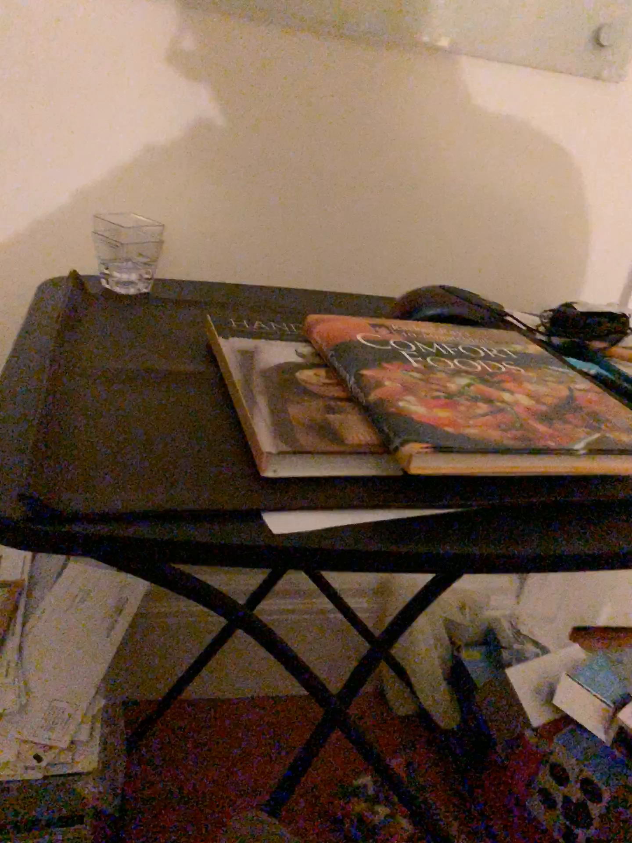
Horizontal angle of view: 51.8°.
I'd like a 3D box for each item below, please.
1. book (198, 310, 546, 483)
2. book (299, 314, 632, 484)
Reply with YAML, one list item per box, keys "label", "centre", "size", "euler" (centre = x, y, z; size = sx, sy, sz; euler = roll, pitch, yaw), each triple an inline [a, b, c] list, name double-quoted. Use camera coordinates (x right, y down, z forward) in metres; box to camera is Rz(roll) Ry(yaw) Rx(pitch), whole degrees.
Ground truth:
- label: "book"
  centre: [0.022, -0.027, 0.464]
  size: [0.180, 0.020, 0.221]
  euler: [1, 28, -20]
- label: "book"
  centre: [0.114, -0.025, 0.460]
  size: [0.200, 0.020, 0.211]
  euler: [1, 28, -20]
